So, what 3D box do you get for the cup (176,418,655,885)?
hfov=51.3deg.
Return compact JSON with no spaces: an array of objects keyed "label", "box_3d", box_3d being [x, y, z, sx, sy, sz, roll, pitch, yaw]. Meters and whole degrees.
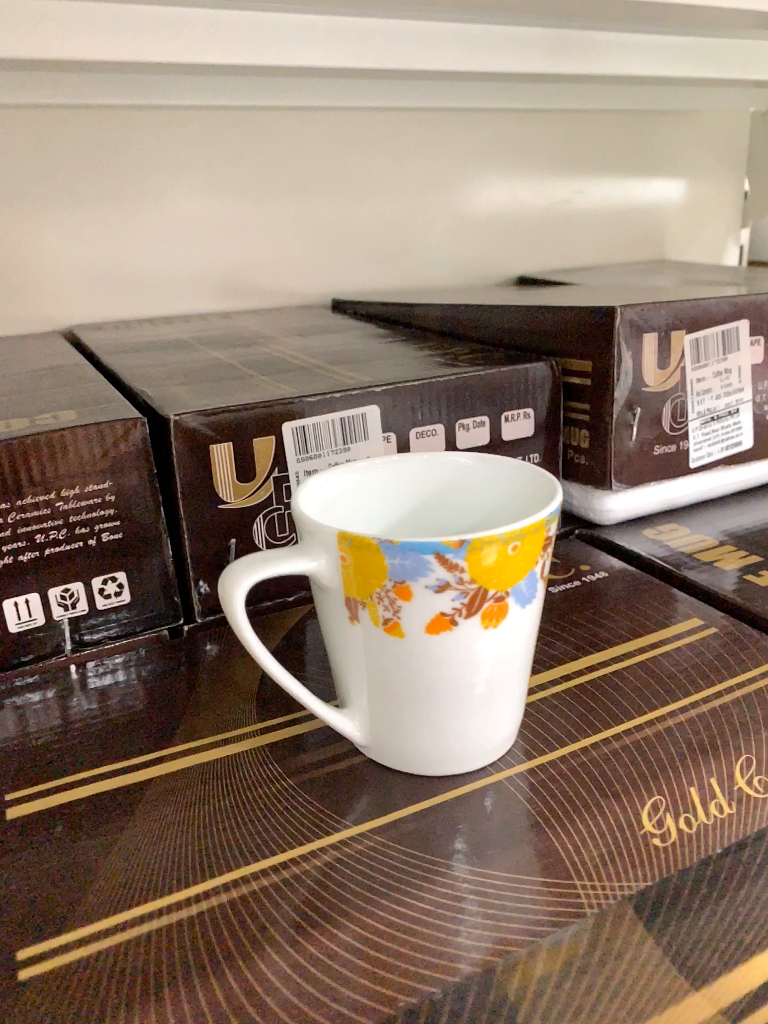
[{"label":"cup","box_3d":[0.006,0.024,0.199,0.090,0.070,0.070,-12,22,-24]}]
